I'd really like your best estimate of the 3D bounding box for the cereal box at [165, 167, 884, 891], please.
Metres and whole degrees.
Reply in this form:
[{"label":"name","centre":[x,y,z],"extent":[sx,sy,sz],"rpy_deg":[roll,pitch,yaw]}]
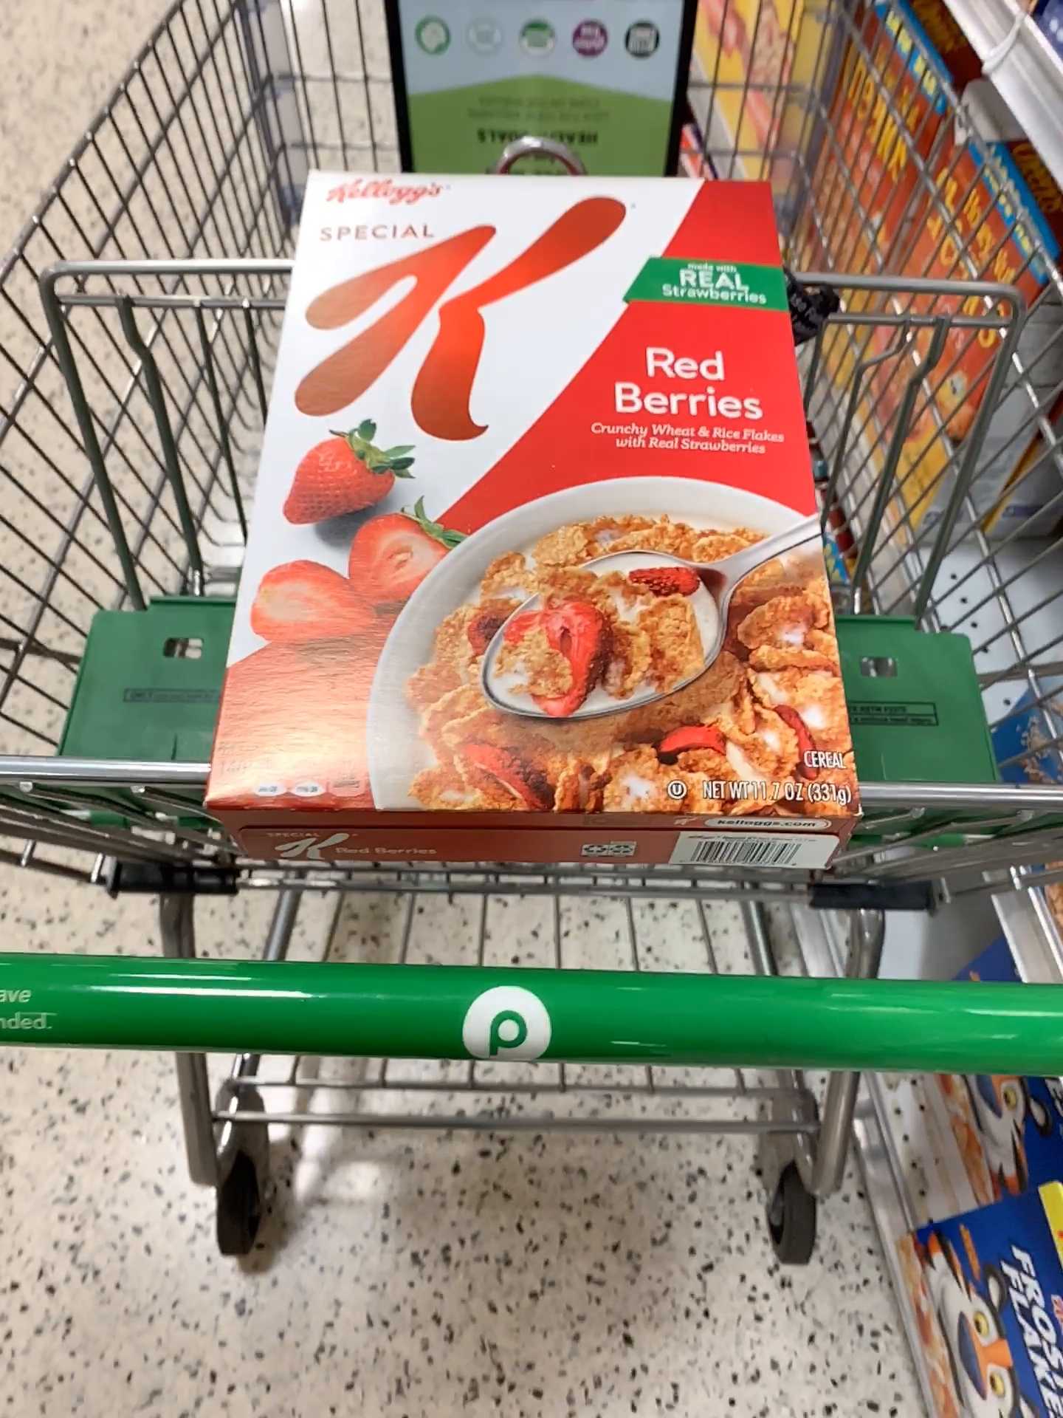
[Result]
[{"label":"cereal box","centre":[-0.001,-0.079,0.396],"extent":[0.200,0.050,0.282],"rpy_deg":[1,61,-1]}]
